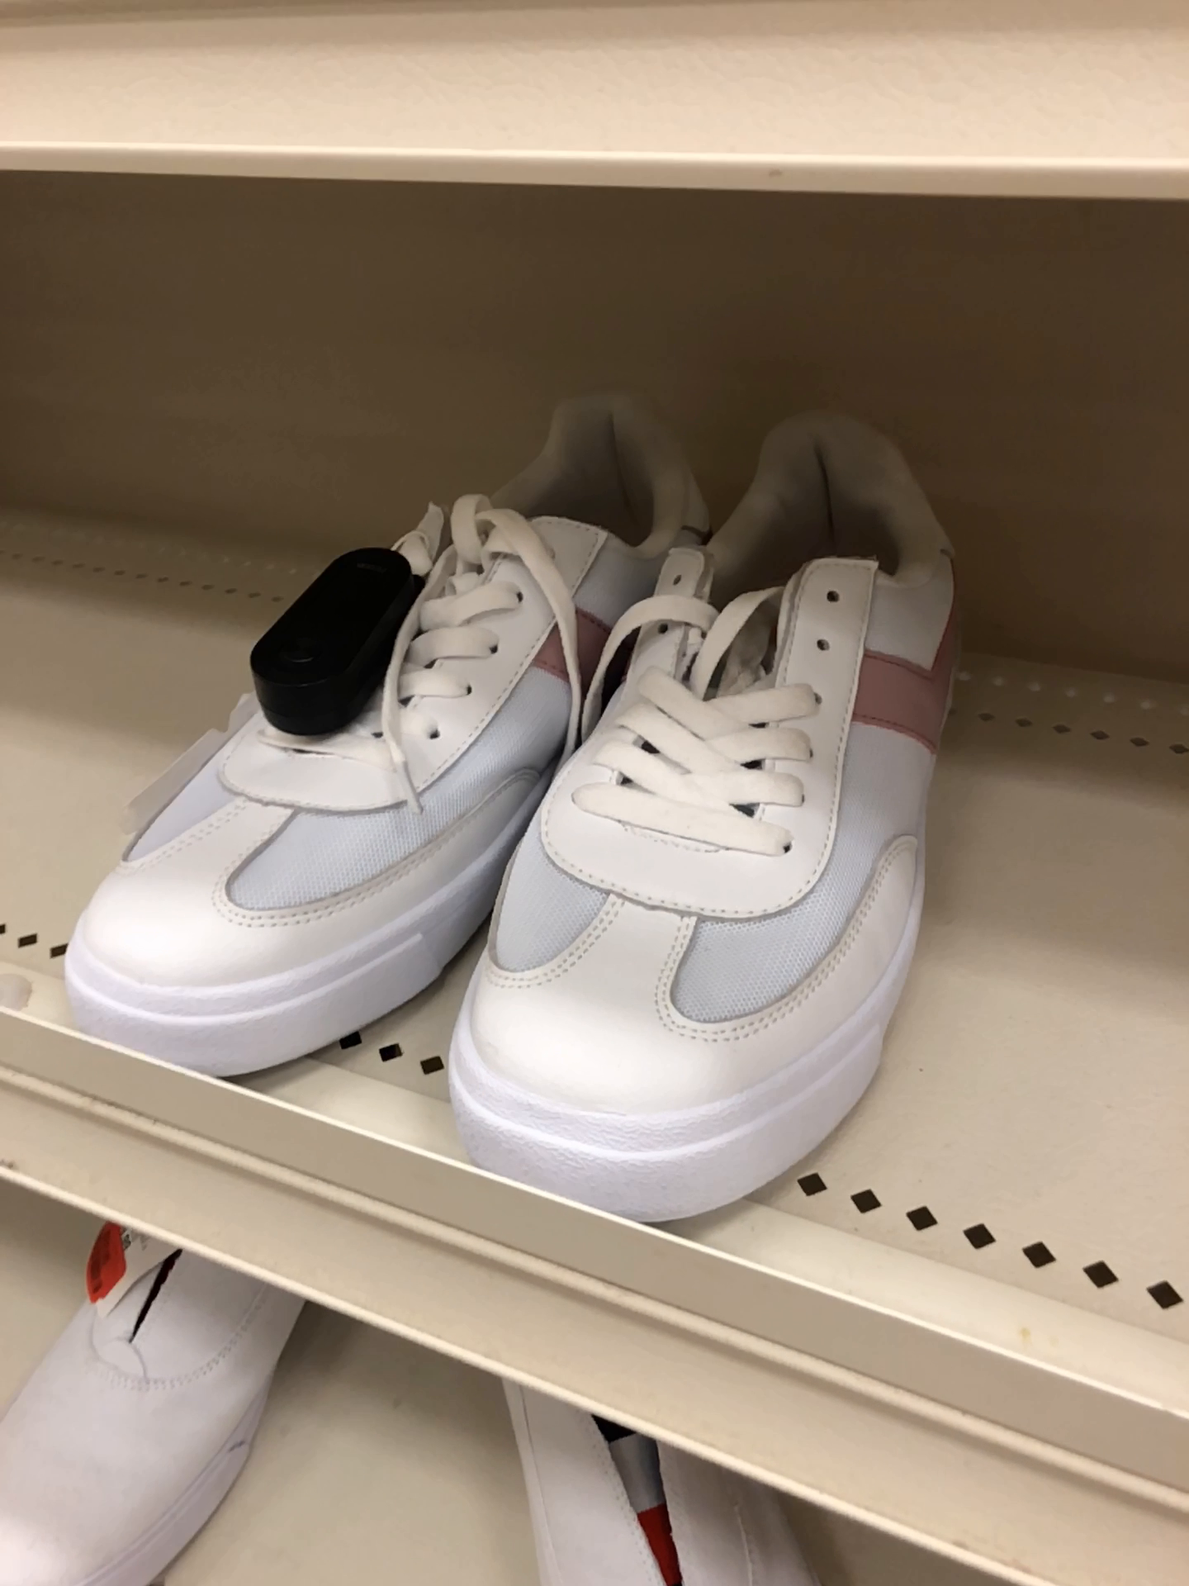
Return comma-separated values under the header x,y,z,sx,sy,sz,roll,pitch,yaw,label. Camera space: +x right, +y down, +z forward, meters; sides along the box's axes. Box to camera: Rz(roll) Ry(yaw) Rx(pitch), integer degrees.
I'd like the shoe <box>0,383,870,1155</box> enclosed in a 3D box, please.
x,y,z,sx,sy,sz,roll,pitch,yaw,label
-0.034,-0.057,0.429,0.120,0.119,0.392,13,24,25,shoe

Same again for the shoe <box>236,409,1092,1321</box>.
x,y,z,sx,sy,sz,roll,pitch,yaw,label
0.066,-0.037,0.403,0.120,0.119,0.392,11,23,21,shoe
